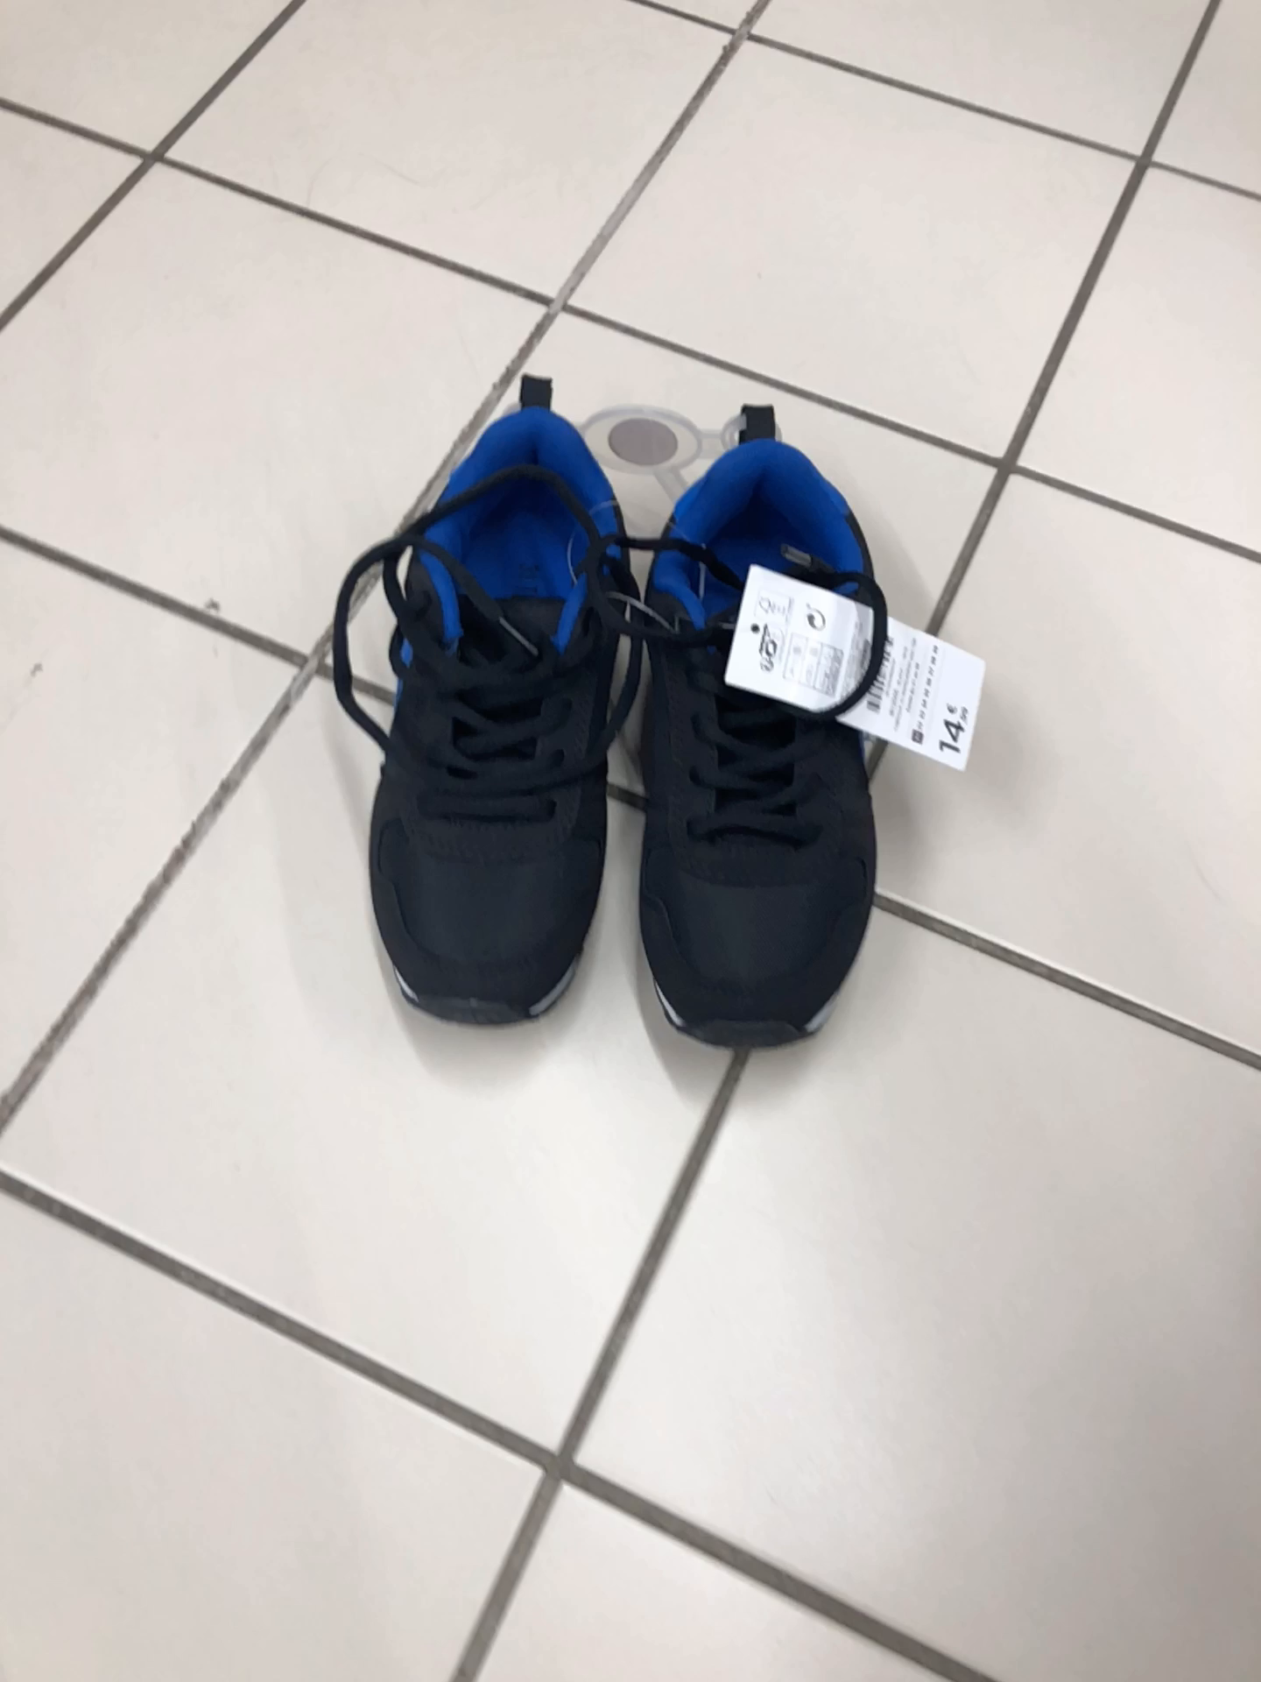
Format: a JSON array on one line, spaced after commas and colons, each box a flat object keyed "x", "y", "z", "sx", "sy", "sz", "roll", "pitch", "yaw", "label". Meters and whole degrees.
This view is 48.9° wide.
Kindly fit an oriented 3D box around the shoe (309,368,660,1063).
[{"x": -0.038, "y": -0.045, "z": 0.443, "sx": 0.085, "sy": 0.061, "sz": 0.218, "roll": 3, "pitch": 63, "yaw": 0, "label": "shoe"}]

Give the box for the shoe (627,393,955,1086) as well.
[{"x": 0.043, "y": -0.036, "z": 0.442, "sx": 0.085, "sy": 0.071, "sz": 0.212, "roll": 1, "pitch": 63, "yaw": -1, "label": "shoe"}]
